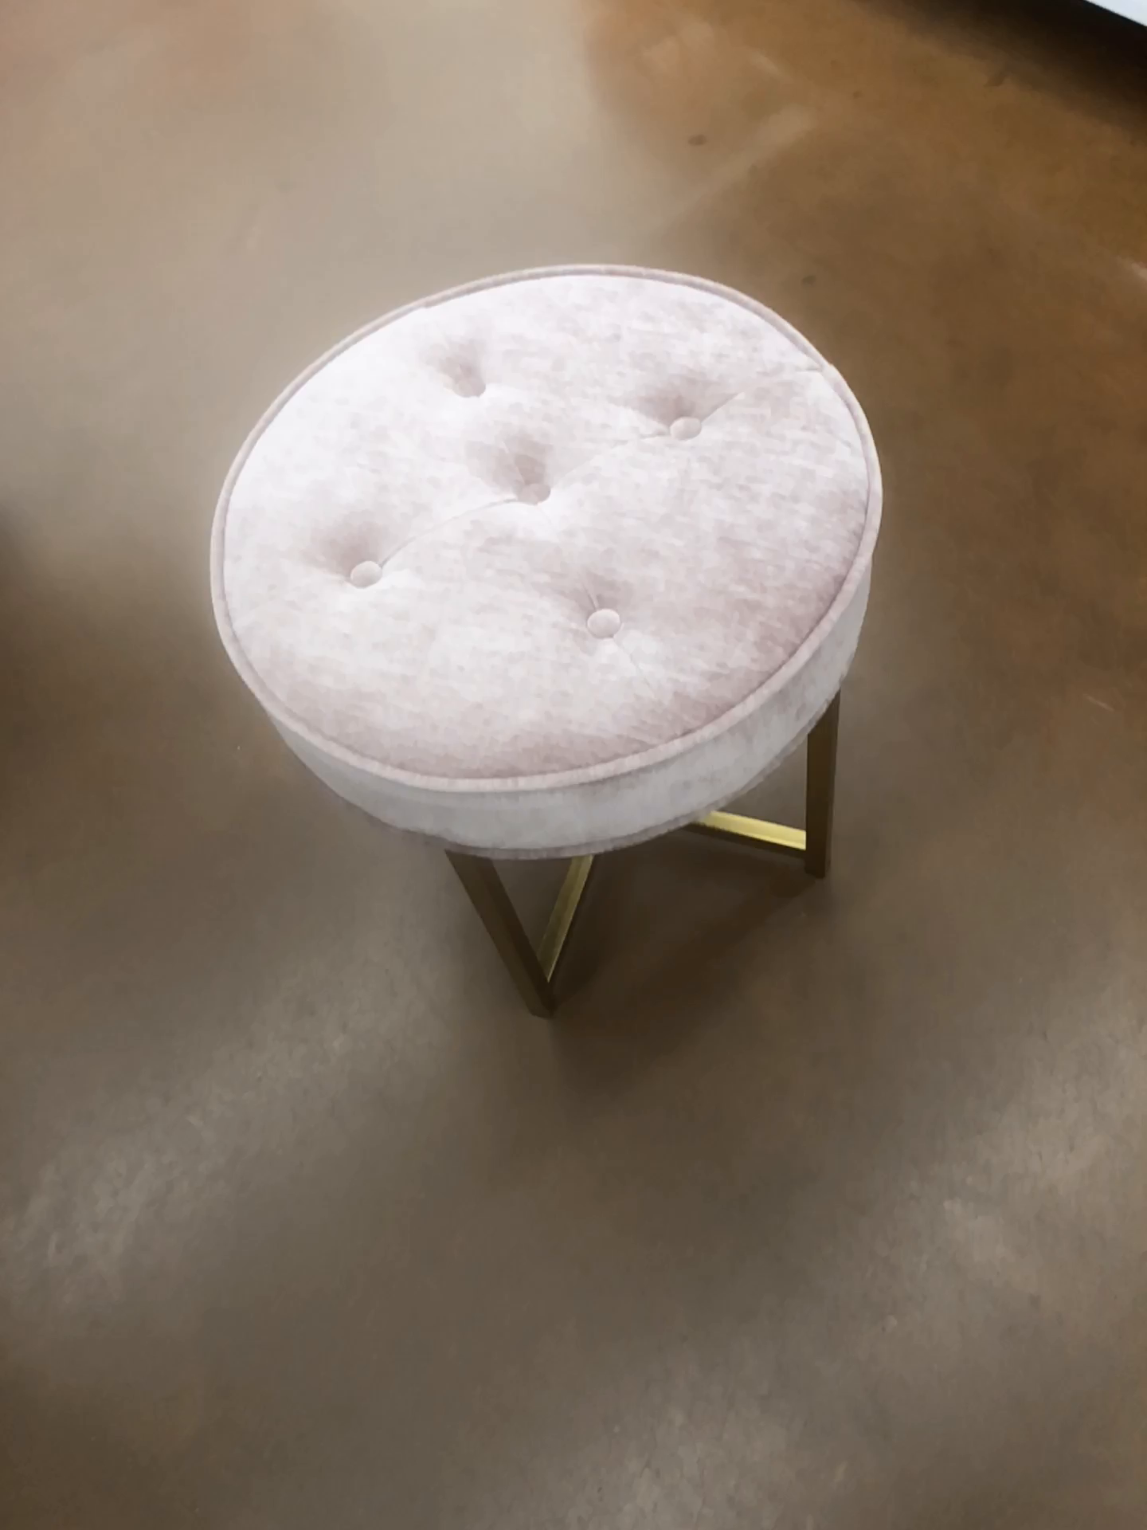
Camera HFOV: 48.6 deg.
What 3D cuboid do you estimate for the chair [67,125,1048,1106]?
[{"bbox_3d":[-0.014,-0.107,0.972,0.470,0.389,0.451,-29,59,-8],"label":"chair"}]
